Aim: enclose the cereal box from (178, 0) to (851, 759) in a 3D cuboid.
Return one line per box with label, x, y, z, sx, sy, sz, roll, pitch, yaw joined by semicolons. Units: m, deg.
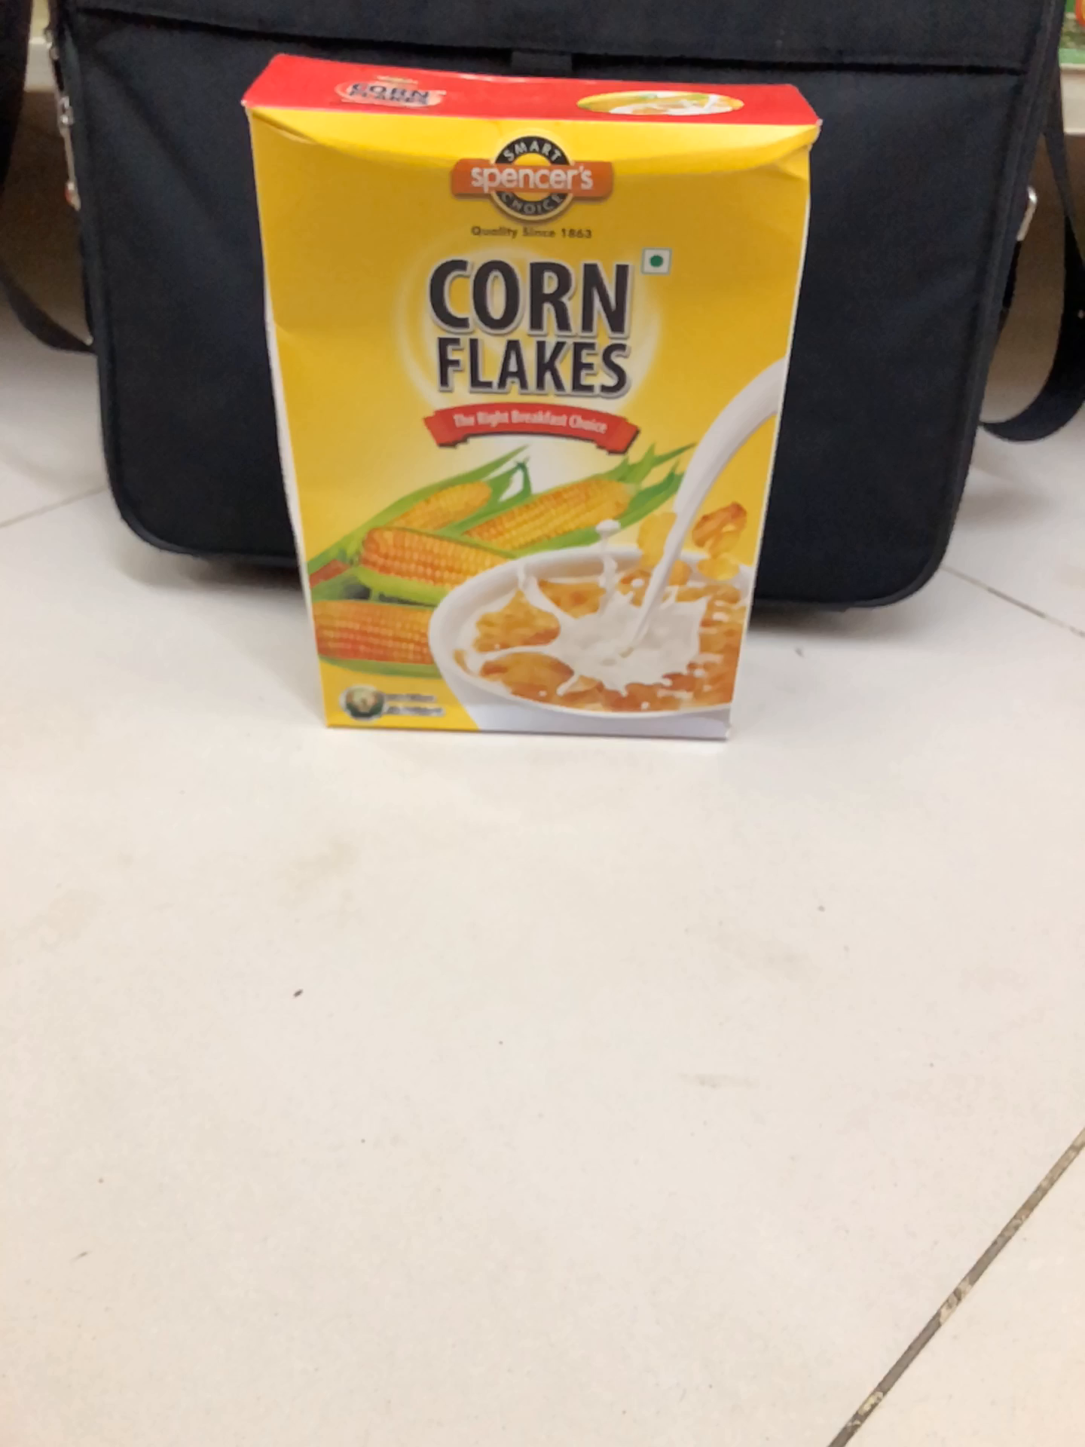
cereal box;-0.007;-0.114;0.454;0.190;0.268;0.070;2;40;2
